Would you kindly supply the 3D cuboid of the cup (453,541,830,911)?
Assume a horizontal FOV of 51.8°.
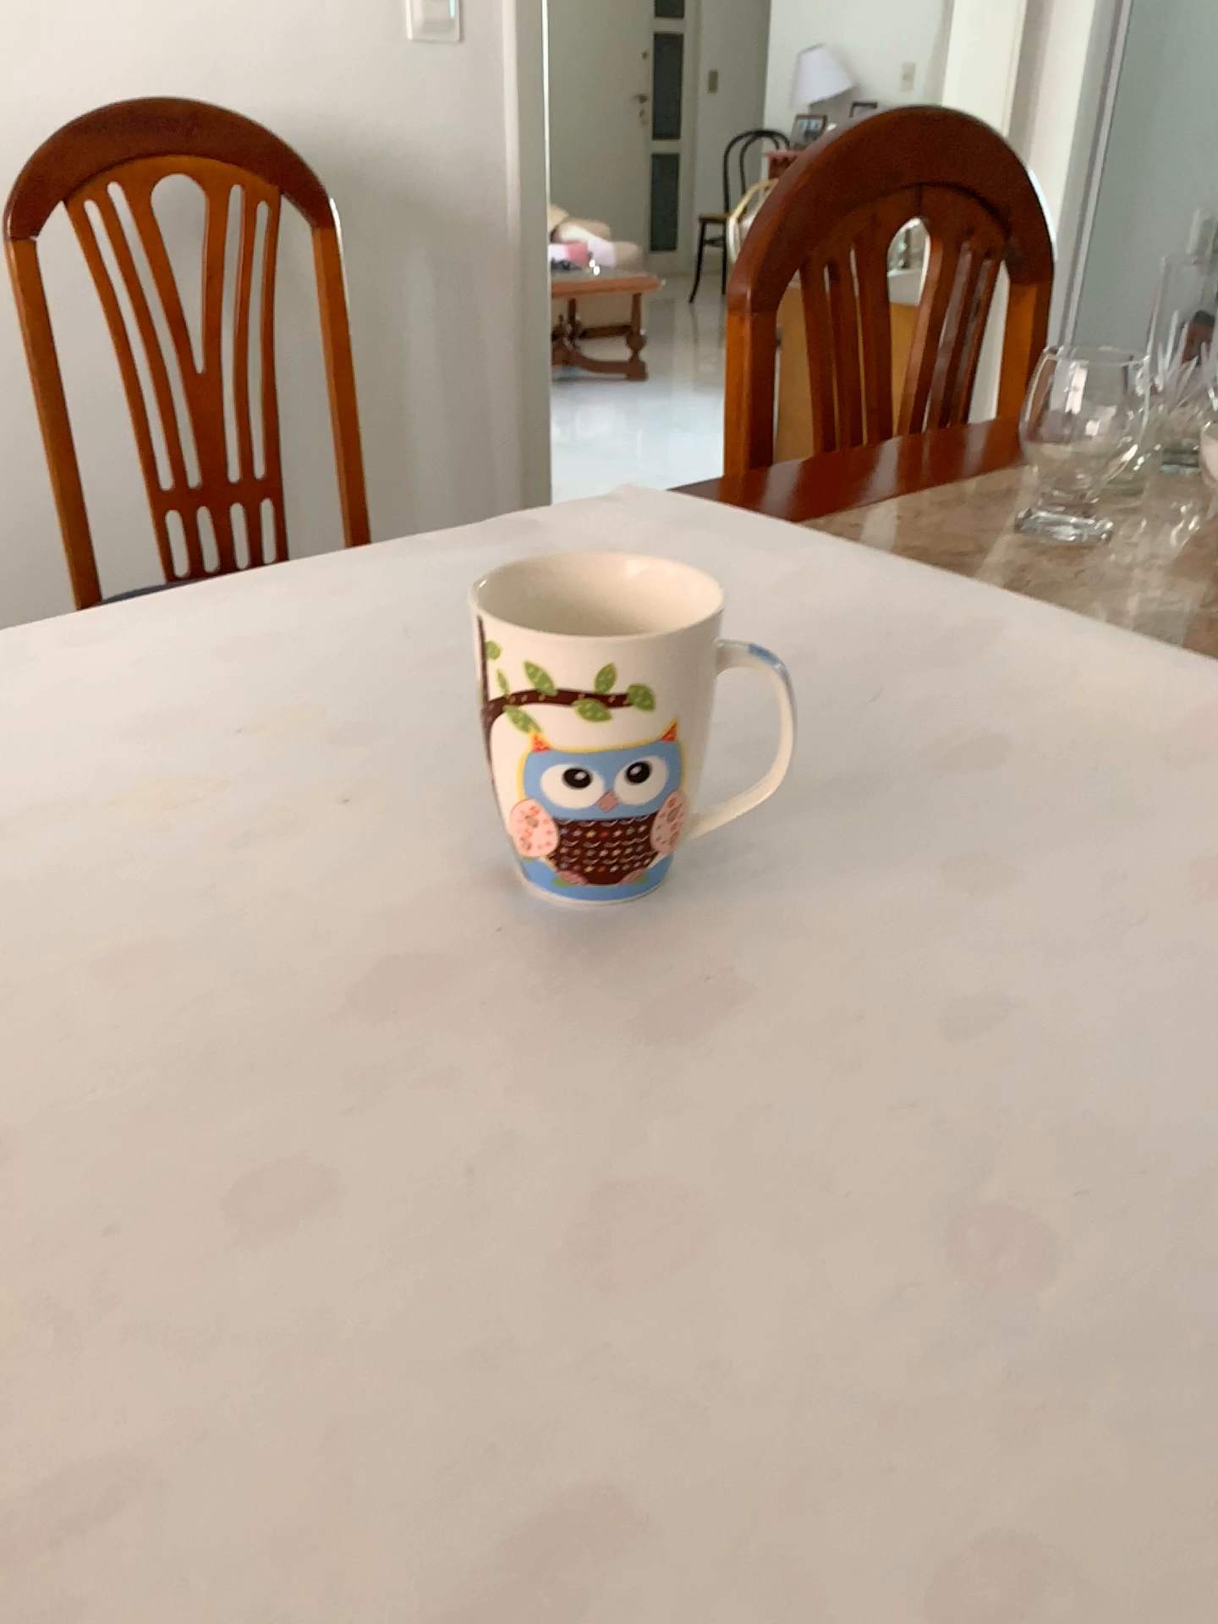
[{"bbox_3d":[0.009,-0.031,0.425,0.110,0.099,0.080,0,29,-1],"label":"cup"}]
